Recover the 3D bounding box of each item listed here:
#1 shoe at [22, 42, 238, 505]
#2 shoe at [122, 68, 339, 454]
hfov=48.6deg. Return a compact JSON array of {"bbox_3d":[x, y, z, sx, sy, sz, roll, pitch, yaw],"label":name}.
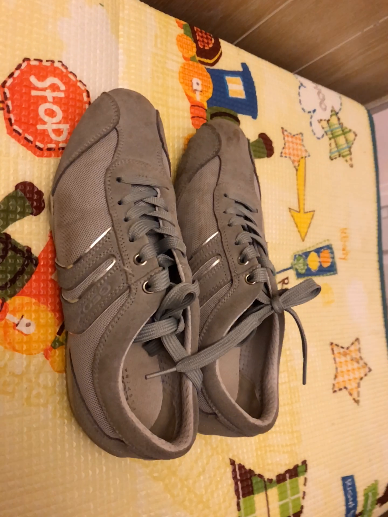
[{"bbox_3d":[-0.051,0.009,0.287,0.090,0.119,0.230,2,82,-36],"label":"shoe"},{"bbox_3d":[0.028,0.006,0.323,0.090,0.119,0.230,14,76,-34],"label":"shoe"}]
